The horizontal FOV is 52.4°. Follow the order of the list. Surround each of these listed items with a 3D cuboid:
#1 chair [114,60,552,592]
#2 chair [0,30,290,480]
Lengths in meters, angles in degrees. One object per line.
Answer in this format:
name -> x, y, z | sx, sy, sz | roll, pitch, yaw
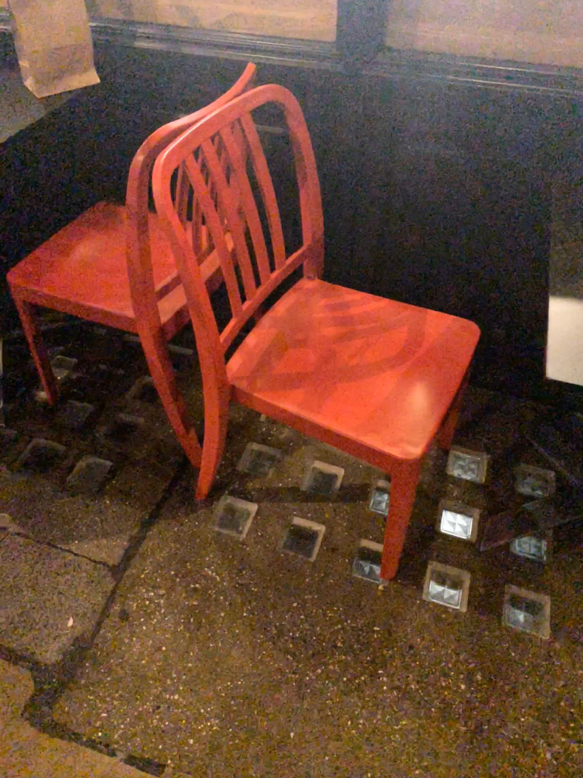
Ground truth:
chair -> 0.106, -0.126, 1.276 | 0.561, 0.852, 0.575 | 17, 46, 16
chair -> -0.353, -0.318, 1.475 | 0.541, 0.852, 0.545 | 15, 45, 14
